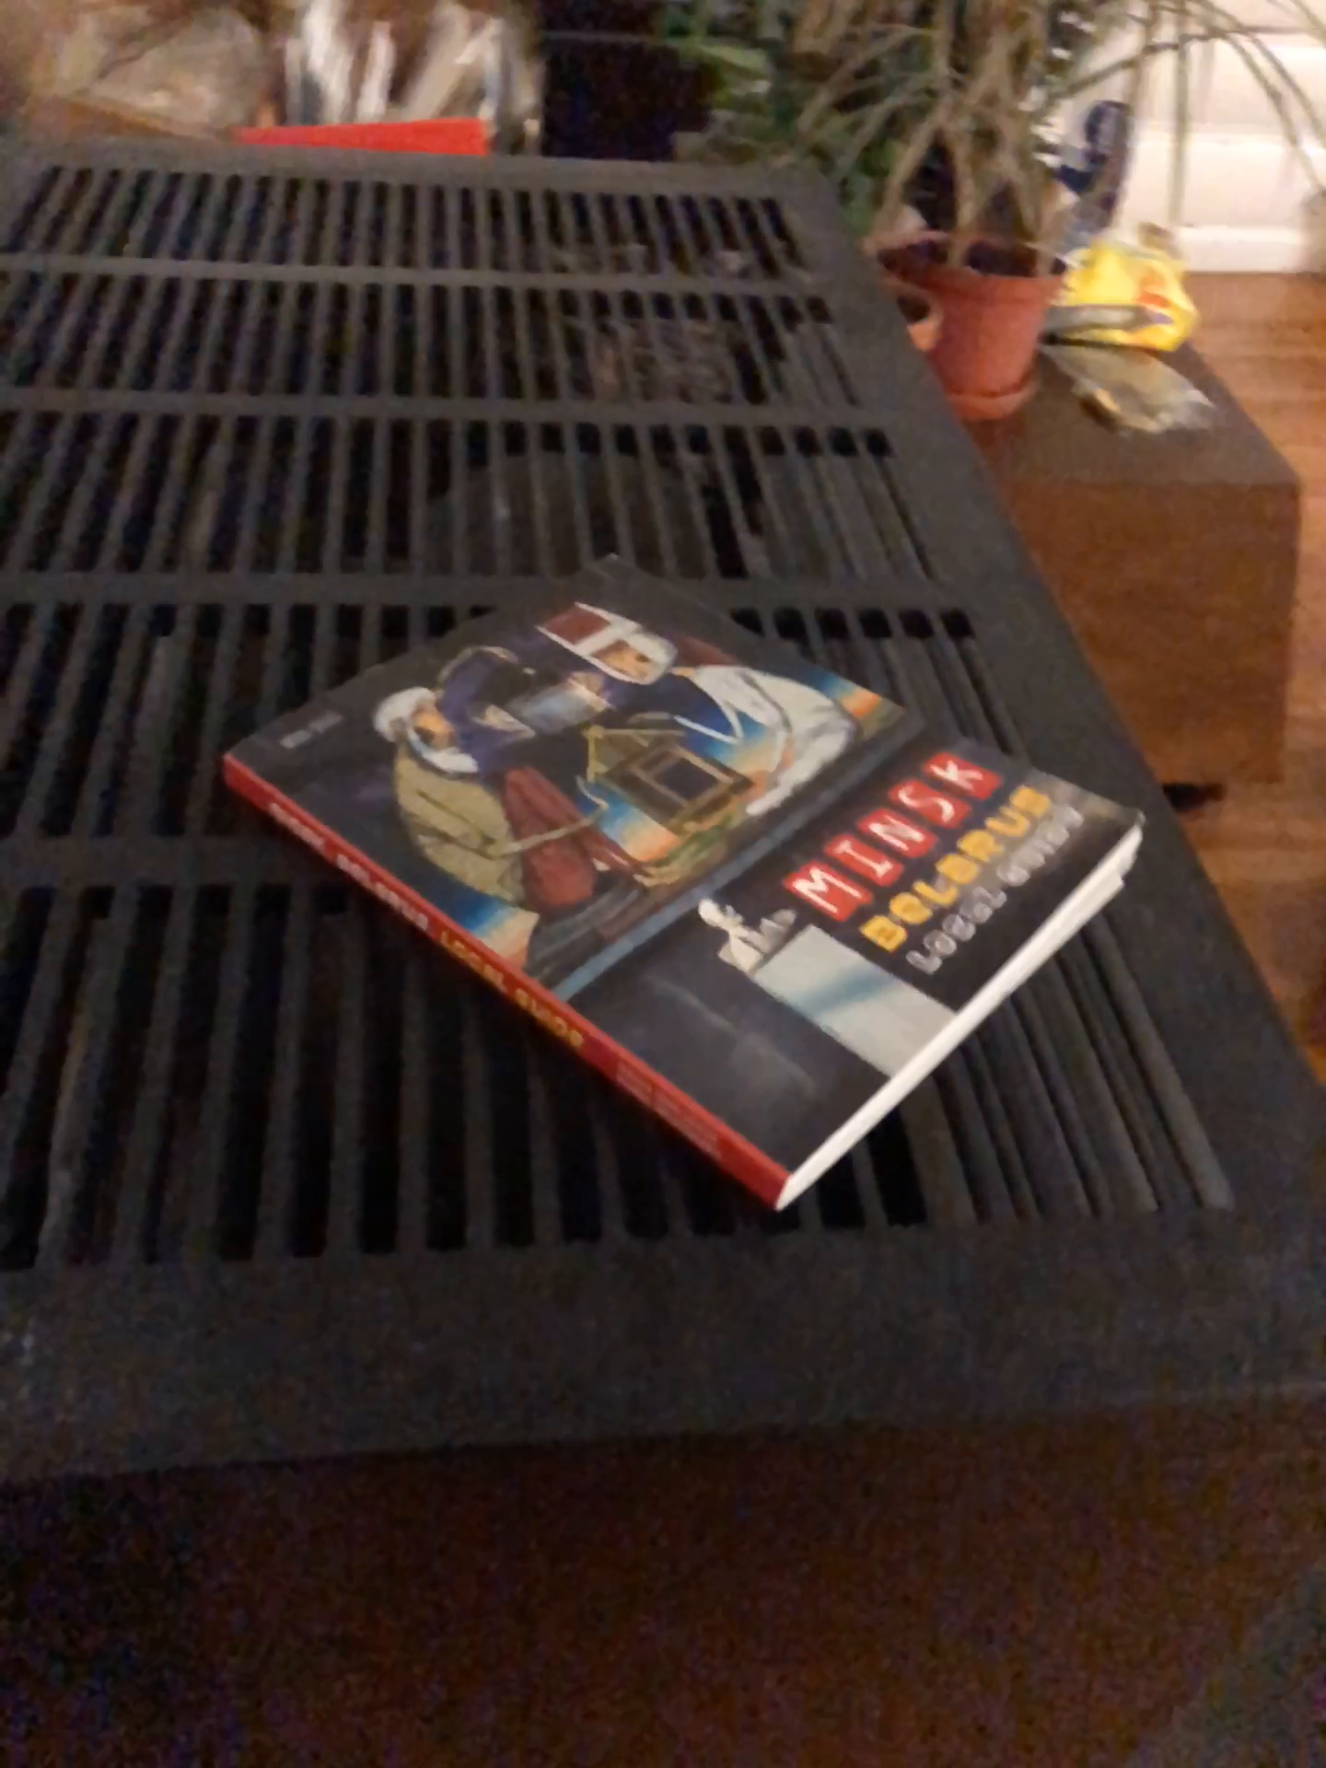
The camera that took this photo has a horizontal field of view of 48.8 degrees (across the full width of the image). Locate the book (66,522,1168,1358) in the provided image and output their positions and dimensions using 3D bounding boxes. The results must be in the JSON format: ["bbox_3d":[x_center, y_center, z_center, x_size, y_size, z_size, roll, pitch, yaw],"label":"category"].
[{"bbox_3d":[-0.011,-0.011,0.345,0.200,0.020,0.161,34,50,27],"label":"book"}]
